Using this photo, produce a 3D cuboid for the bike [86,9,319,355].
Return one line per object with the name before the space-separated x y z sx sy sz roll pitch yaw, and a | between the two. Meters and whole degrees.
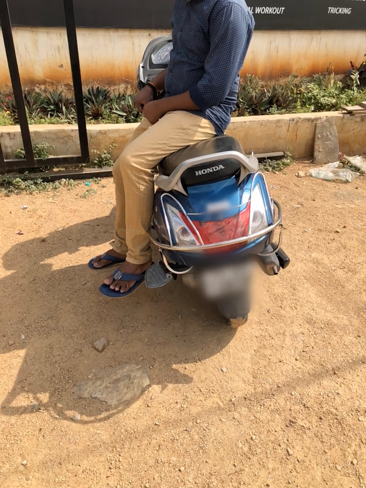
bike | -0.099 -0.479 1.991 0.623 1.115 1.555 -5 32 -10
